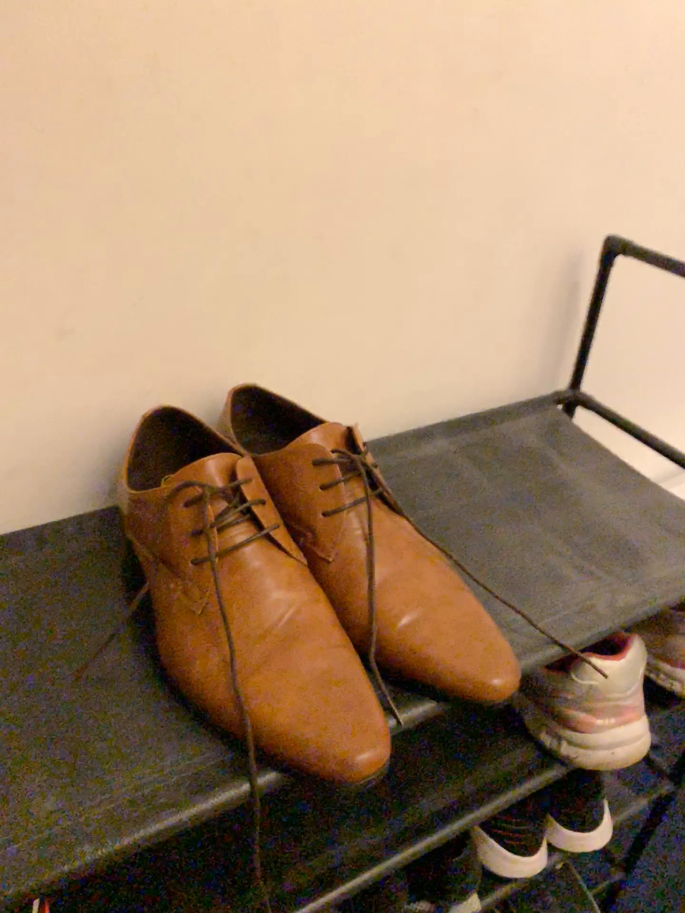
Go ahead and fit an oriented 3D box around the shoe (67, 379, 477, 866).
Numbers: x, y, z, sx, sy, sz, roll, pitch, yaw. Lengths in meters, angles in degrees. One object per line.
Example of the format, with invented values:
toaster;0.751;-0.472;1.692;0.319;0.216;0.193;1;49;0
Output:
shoe;-0.061;0.064;0.414;0.110;0.099;0.272;-17;37;-28

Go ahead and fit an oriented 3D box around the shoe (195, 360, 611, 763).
shoe;0.016;0.043;0.480;0.100;0.099;0.292;-19;38;-32
